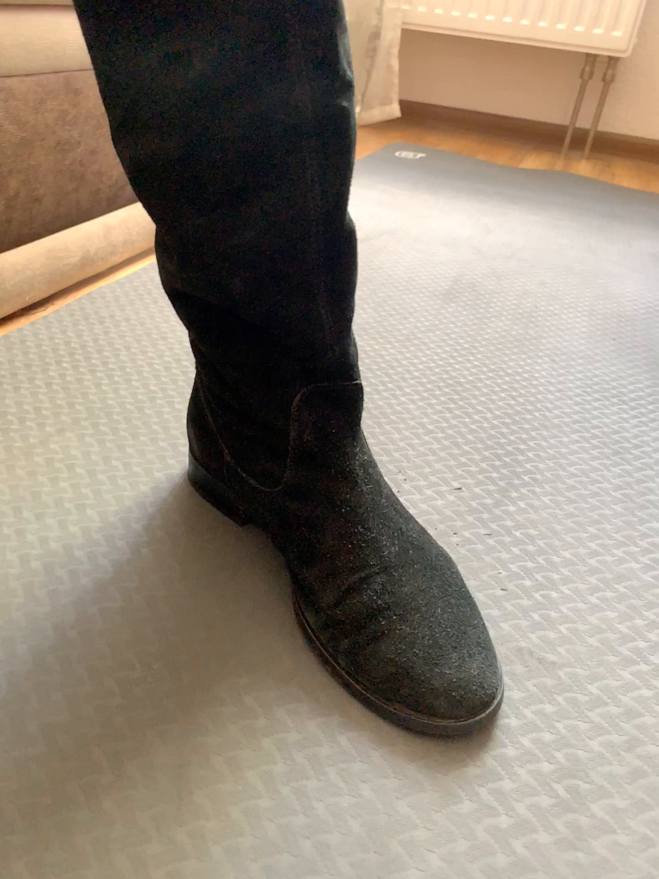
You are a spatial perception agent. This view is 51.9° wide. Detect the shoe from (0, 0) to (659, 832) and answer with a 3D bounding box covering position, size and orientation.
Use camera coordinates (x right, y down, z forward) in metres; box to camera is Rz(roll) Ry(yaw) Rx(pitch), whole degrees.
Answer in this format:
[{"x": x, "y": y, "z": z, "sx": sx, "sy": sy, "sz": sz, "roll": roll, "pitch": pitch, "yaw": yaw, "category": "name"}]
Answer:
[{"x": -0.026, "y": -0.108, "z": 0.287, "sx": 0.130, "sy": 0.378, "sz": 0.321, "roll": -21, "pitch": 39, "yaw": -32, "category": "shoe"}]
